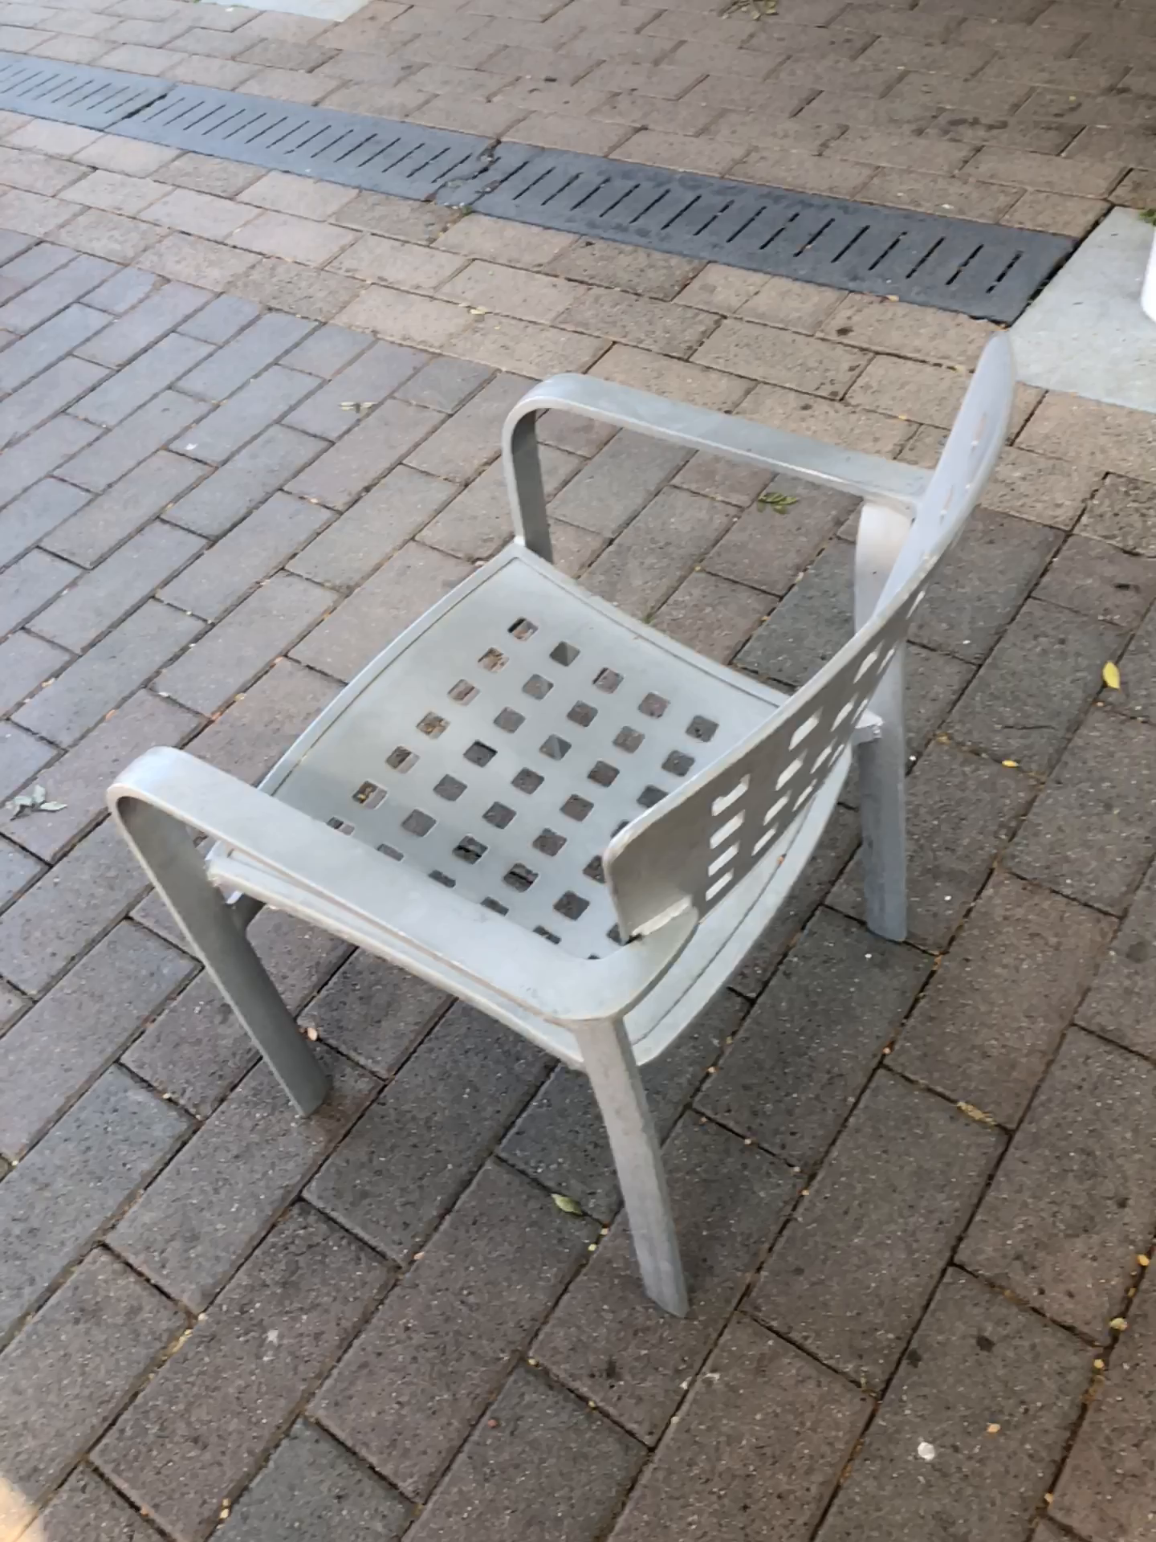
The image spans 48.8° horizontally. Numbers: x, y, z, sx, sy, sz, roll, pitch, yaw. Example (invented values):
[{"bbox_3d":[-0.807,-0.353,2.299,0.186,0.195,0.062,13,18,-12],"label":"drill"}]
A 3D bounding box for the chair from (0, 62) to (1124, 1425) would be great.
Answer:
[{"bbox_3d":[-0.036,-0.012,1.068,0.592,0.777,0.631,24,57,24],"label":"chair"}]
